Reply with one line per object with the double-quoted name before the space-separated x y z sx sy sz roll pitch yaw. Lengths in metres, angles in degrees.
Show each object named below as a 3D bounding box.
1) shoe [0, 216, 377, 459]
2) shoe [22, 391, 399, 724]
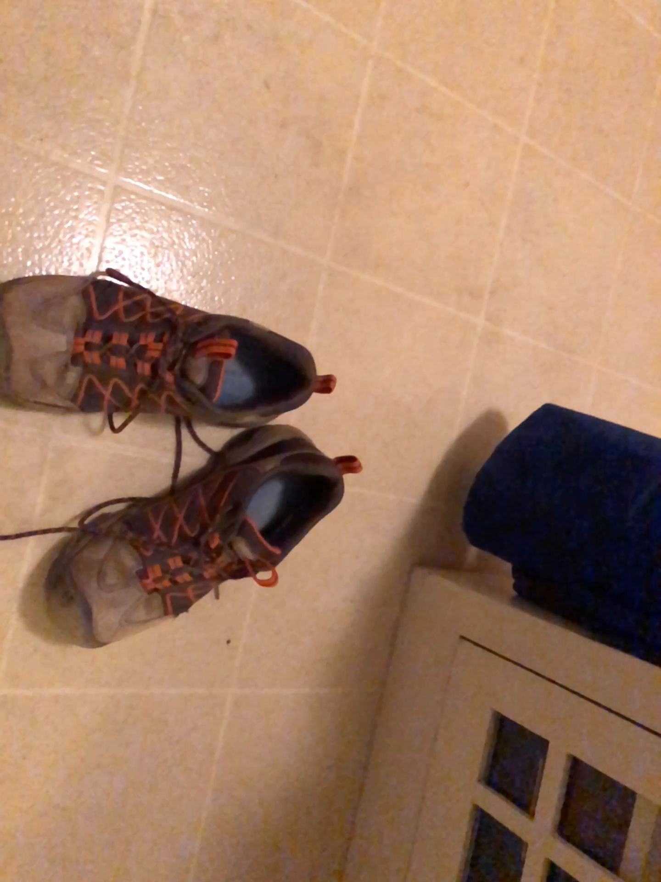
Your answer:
"shoe" -0.124 -0.073 0.607 0.293 0.122 0.127 9 92 -33
"shoe" -0.100 0.085 0.650 0.283 0.122 0.127 -35 113 -23
